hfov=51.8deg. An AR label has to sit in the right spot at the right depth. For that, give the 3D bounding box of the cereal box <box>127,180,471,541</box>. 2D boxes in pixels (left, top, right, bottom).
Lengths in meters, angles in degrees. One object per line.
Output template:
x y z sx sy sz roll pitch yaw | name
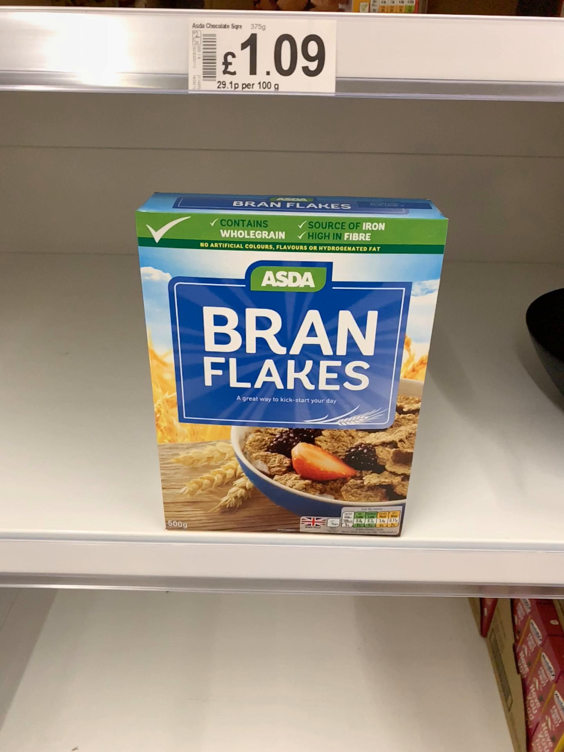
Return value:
0.009 -0.004 0.470 0.220 0.278 0.081 1 27 0 | cereal box
